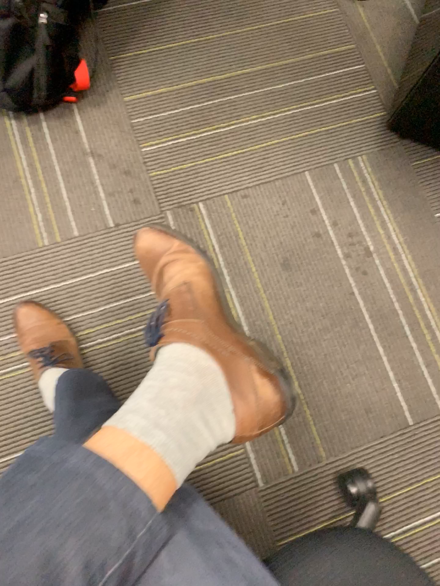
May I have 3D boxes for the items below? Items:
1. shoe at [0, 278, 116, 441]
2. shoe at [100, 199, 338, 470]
[{"bbox_3d":[-0.318,0.123,0.849,0.112,0.068,0.276,-31,81,-12],"label":"shoe"},{"bbox_3d":[-0.014,0.042,0.527,0.082,0.114,0.294,-26,72,-41],"label":"shoe"}]
